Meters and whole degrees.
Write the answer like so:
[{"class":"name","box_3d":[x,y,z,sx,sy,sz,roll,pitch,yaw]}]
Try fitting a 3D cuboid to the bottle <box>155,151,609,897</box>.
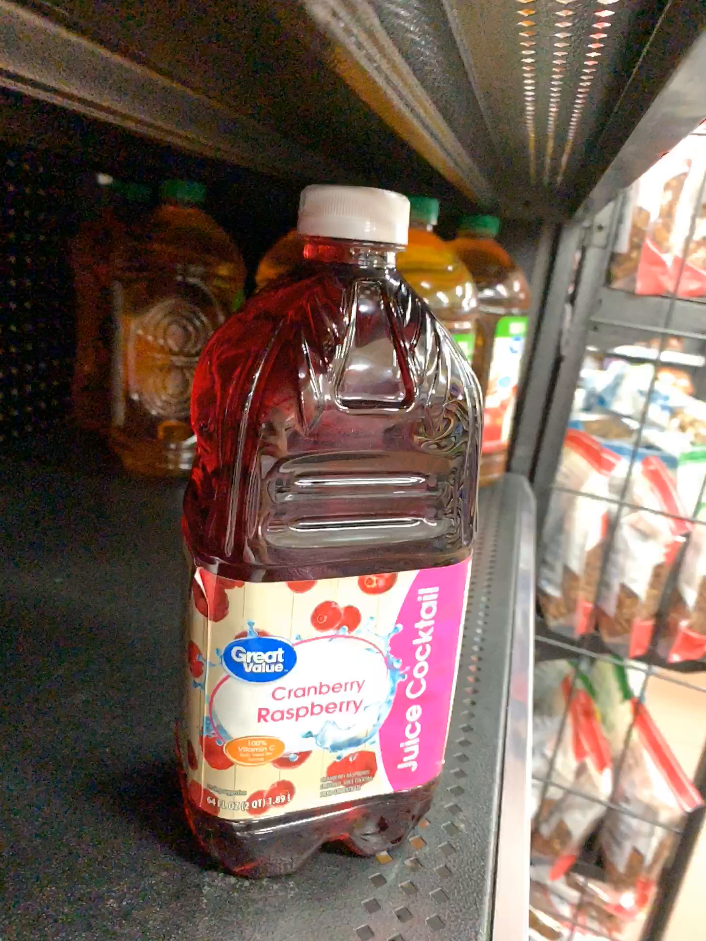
[{"class":"bottle","box_3d":[-0.005,0.020,0.305,0.125,0.259,0.100,0,18,-23]}]
